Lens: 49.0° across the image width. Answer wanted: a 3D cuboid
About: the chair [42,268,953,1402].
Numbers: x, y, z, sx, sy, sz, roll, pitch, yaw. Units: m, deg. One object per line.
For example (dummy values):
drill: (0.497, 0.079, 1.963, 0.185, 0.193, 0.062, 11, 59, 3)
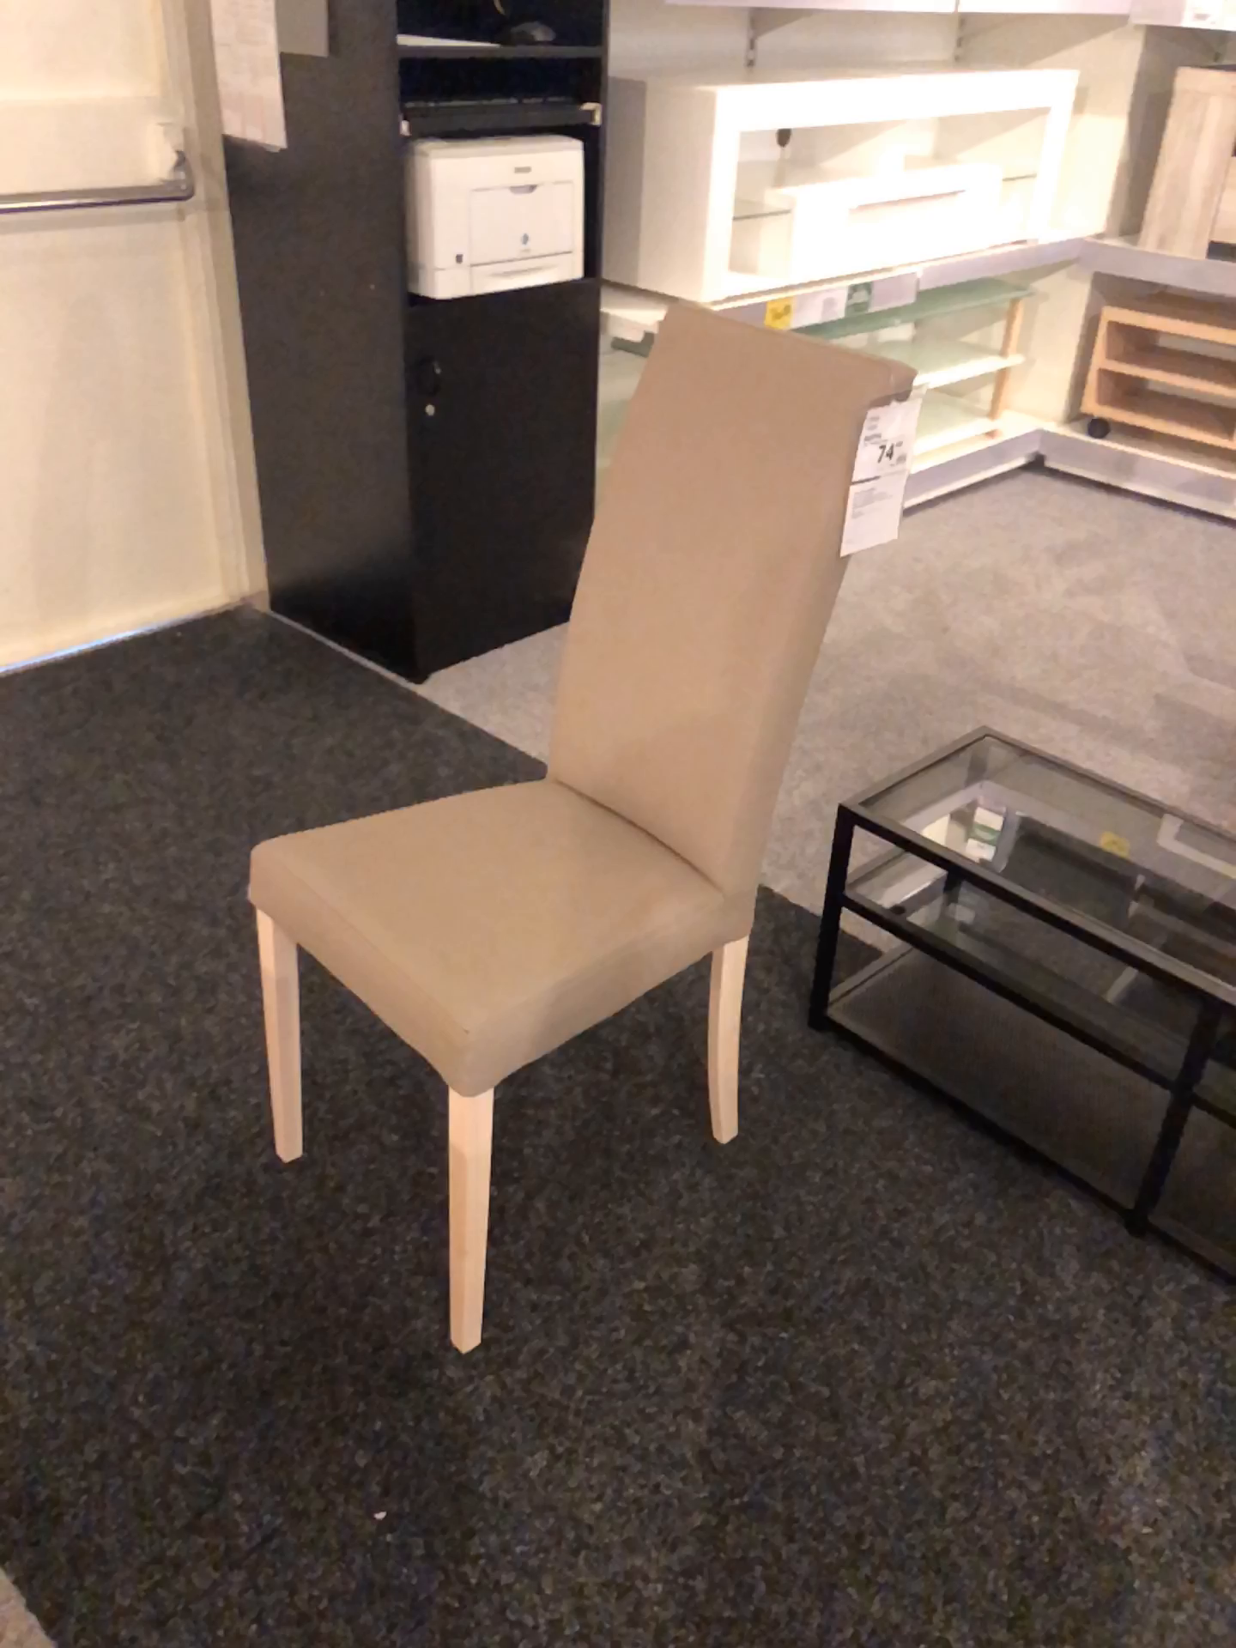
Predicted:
chair: (-0.126, -0.033, 1.471, 0.633, 0.944, 0.530, -23, 40, -36)
